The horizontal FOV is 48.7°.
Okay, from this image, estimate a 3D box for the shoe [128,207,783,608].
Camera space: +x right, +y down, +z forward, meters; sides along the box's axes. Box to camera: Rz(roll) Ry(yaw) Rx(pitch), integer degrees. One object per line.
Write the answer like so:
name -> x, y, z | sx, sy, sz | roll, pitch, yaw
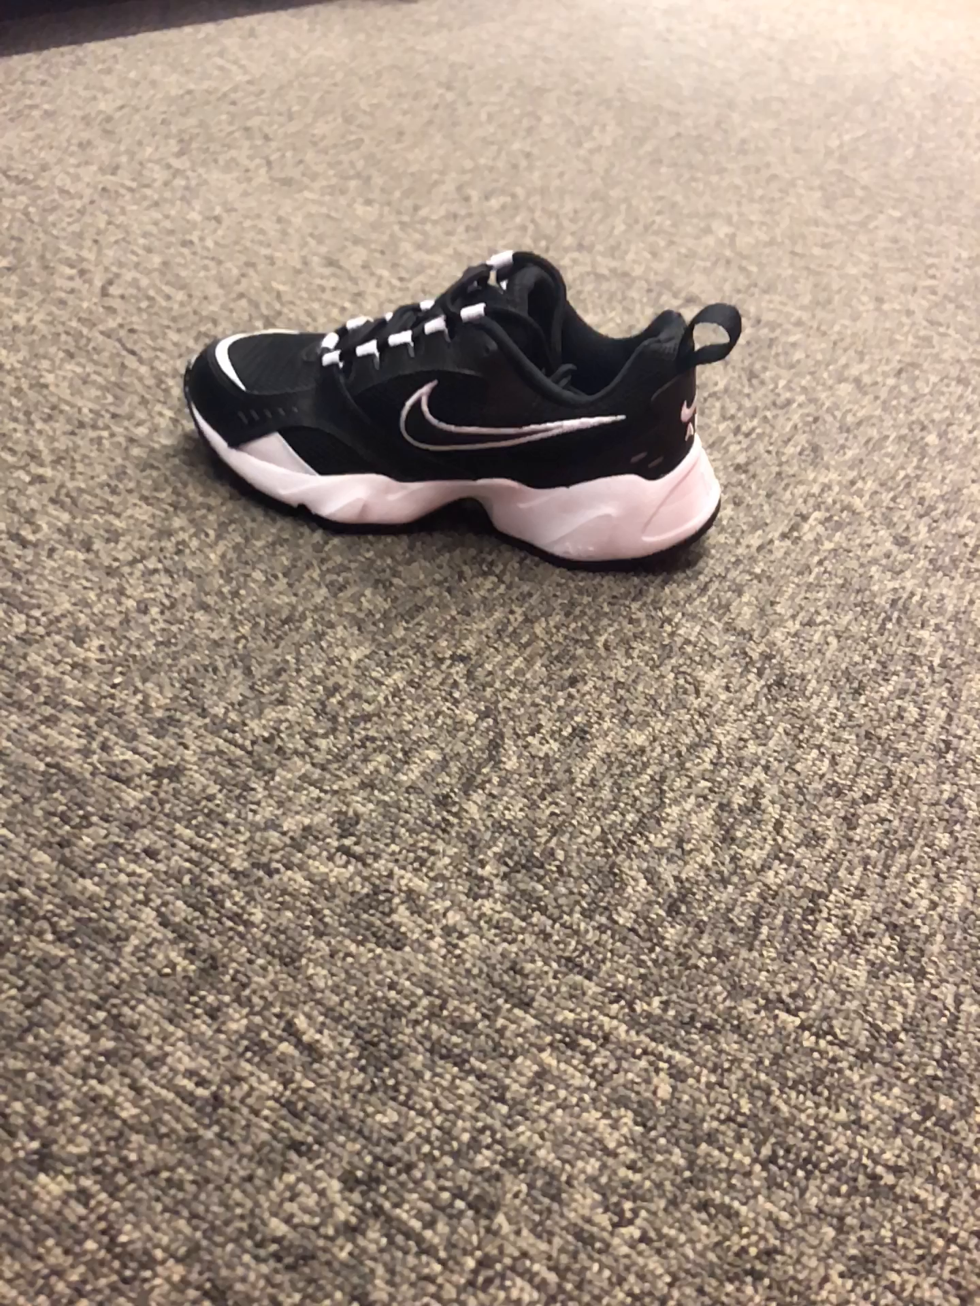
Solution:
shoe -> -0.011, -0.117, 0.495 | 0.260, 0.109, 0.105 | 11, 40, 10
